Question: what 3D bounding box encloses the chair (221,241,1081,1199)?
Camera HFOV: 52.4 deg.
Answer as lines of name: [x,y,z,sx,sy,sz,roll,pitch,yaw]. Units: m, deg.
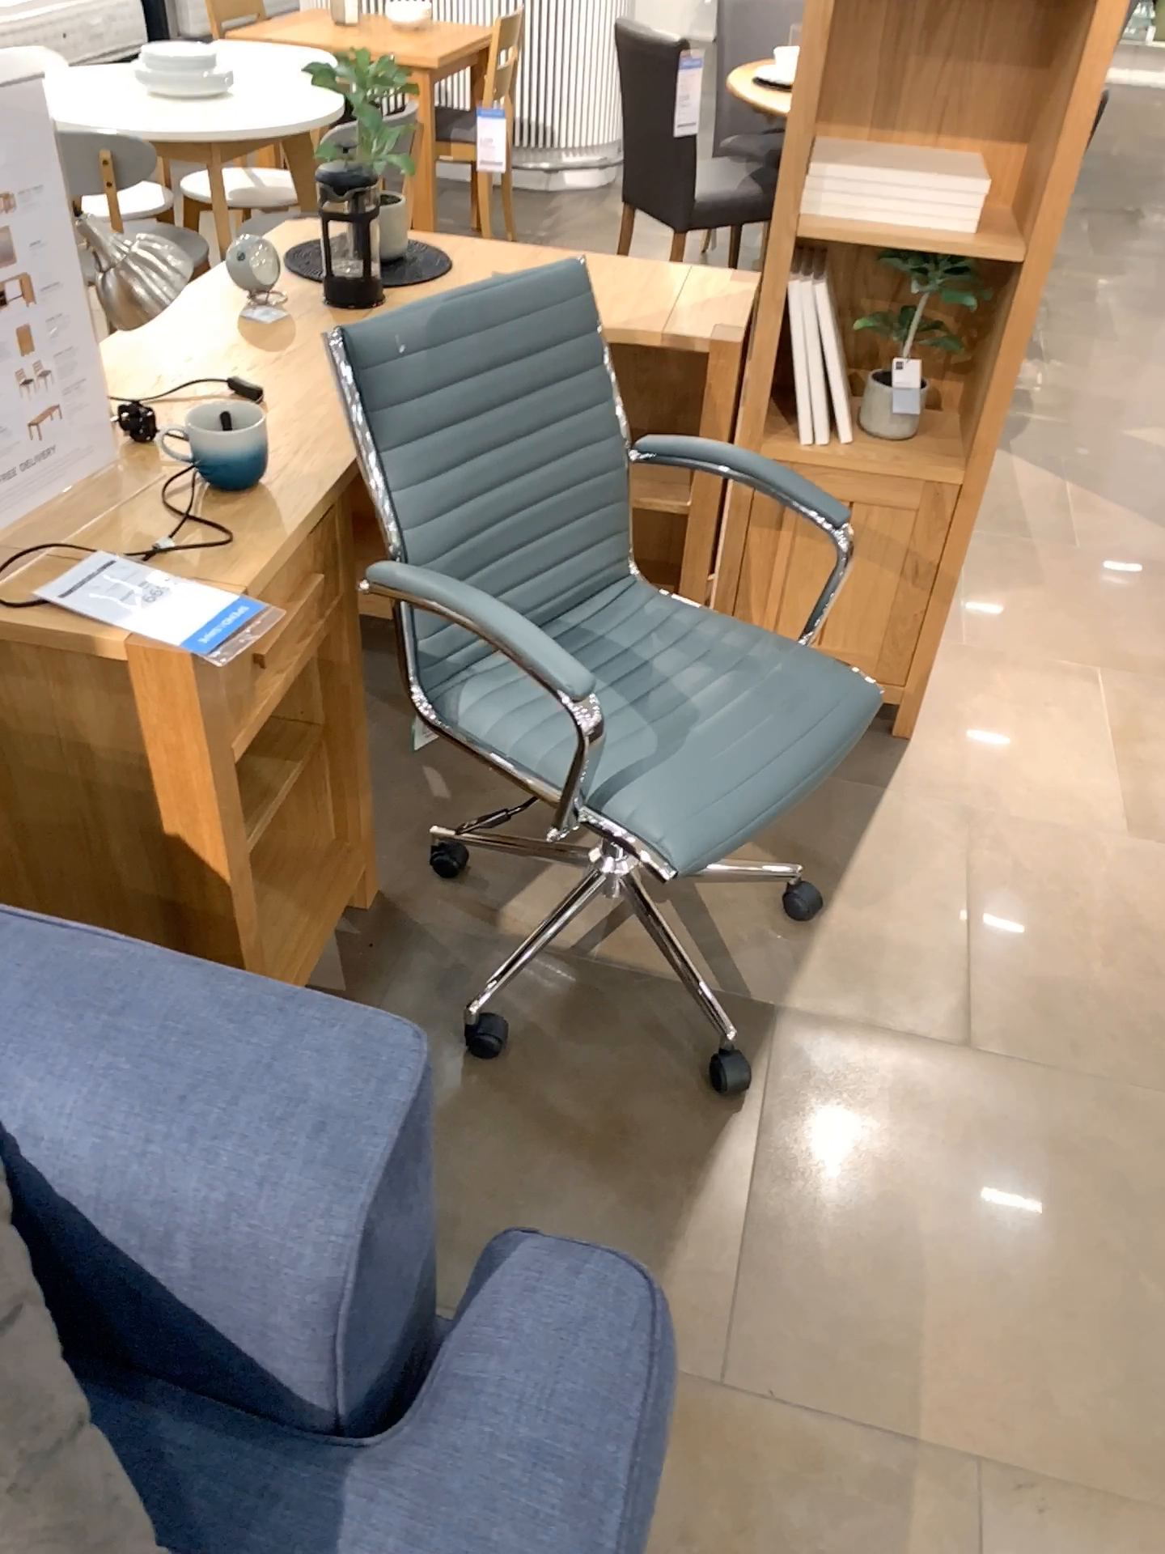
chair: [0.065,-0.119,1.597,0.710,0.883,0.668,30,45,28]
